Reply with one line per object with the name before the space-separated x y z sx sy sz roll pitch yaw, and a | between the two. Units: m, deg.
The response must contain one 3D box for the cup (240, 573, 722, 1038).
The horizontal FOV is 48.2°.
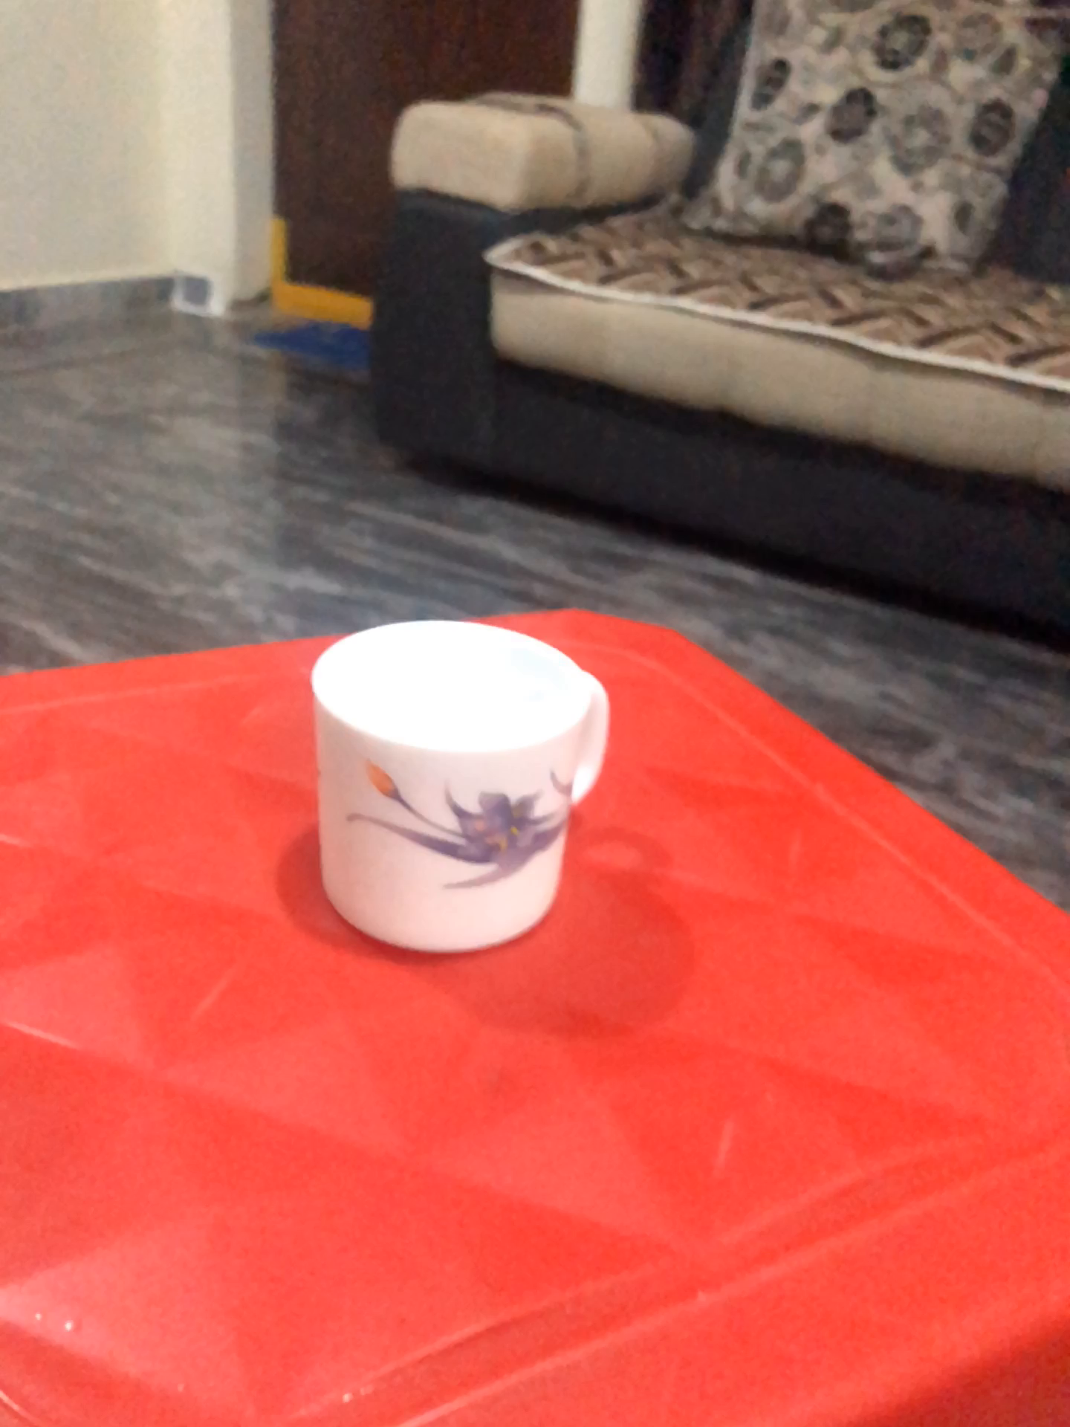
cup | -0.012 0.015 0.289 0.070 0.060 0.090 23 32 29
